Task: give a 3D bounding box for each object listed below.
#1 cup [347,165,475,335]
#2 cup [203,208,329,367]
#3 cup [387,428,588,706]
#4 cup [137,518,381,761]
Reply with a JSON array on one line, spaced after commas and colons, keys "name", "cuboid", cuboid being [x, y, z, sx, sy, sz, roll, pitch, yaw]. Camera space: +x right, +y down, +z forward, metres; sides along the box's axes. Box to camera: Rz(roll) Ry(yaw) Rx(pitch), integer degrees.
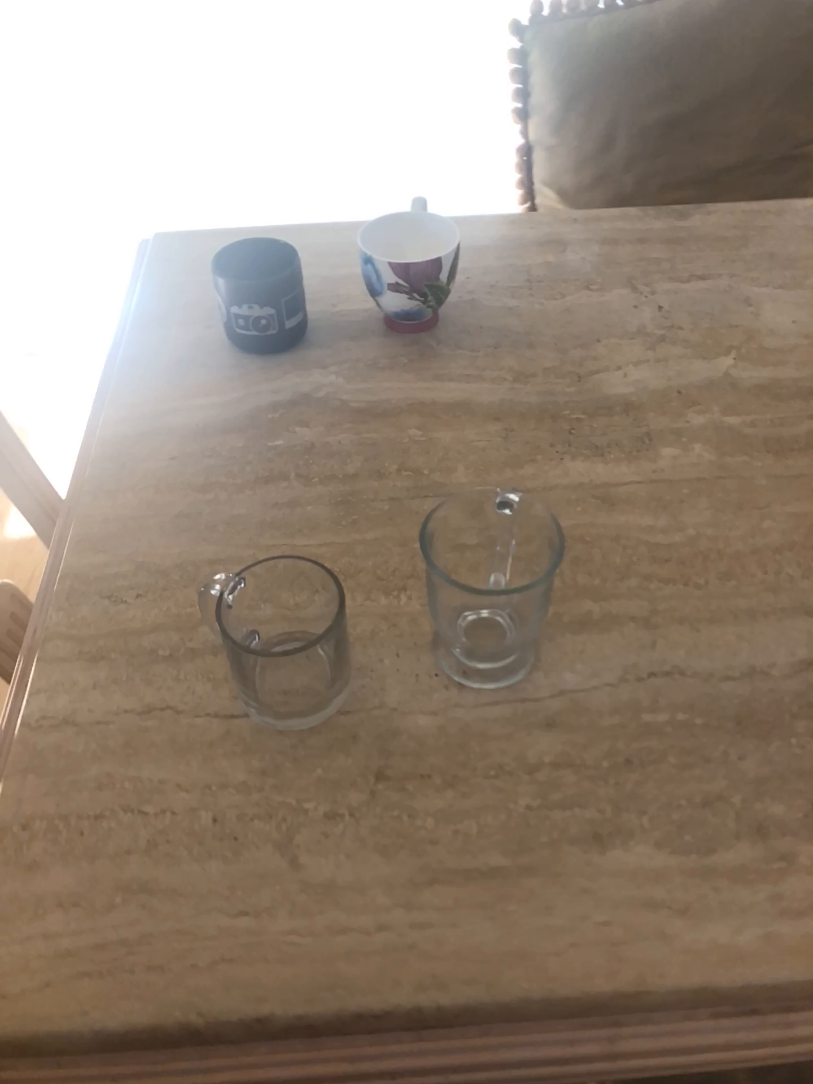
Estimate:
[{"name": "cup", "cuboid": [0.009, -0.319, 0.966, 0.100, 0.099, 0.171, 8, 47, 9]}, {"name": "cup", "cuboid": [-0.146, -0.275, 0.960, 0.090, 0.109, 0.131, 5, 47, 7]}, {"name": "cup", "cuboid": [0.061, 0.015, 0.643, 0.110, 0.109, 0.151, 9, 48, 10]}, {"name": "cup", "cuboid": [-0.099, 0.069, 0.637, 0.130, 0.109, 0.091, 17, 49, 17]}]
